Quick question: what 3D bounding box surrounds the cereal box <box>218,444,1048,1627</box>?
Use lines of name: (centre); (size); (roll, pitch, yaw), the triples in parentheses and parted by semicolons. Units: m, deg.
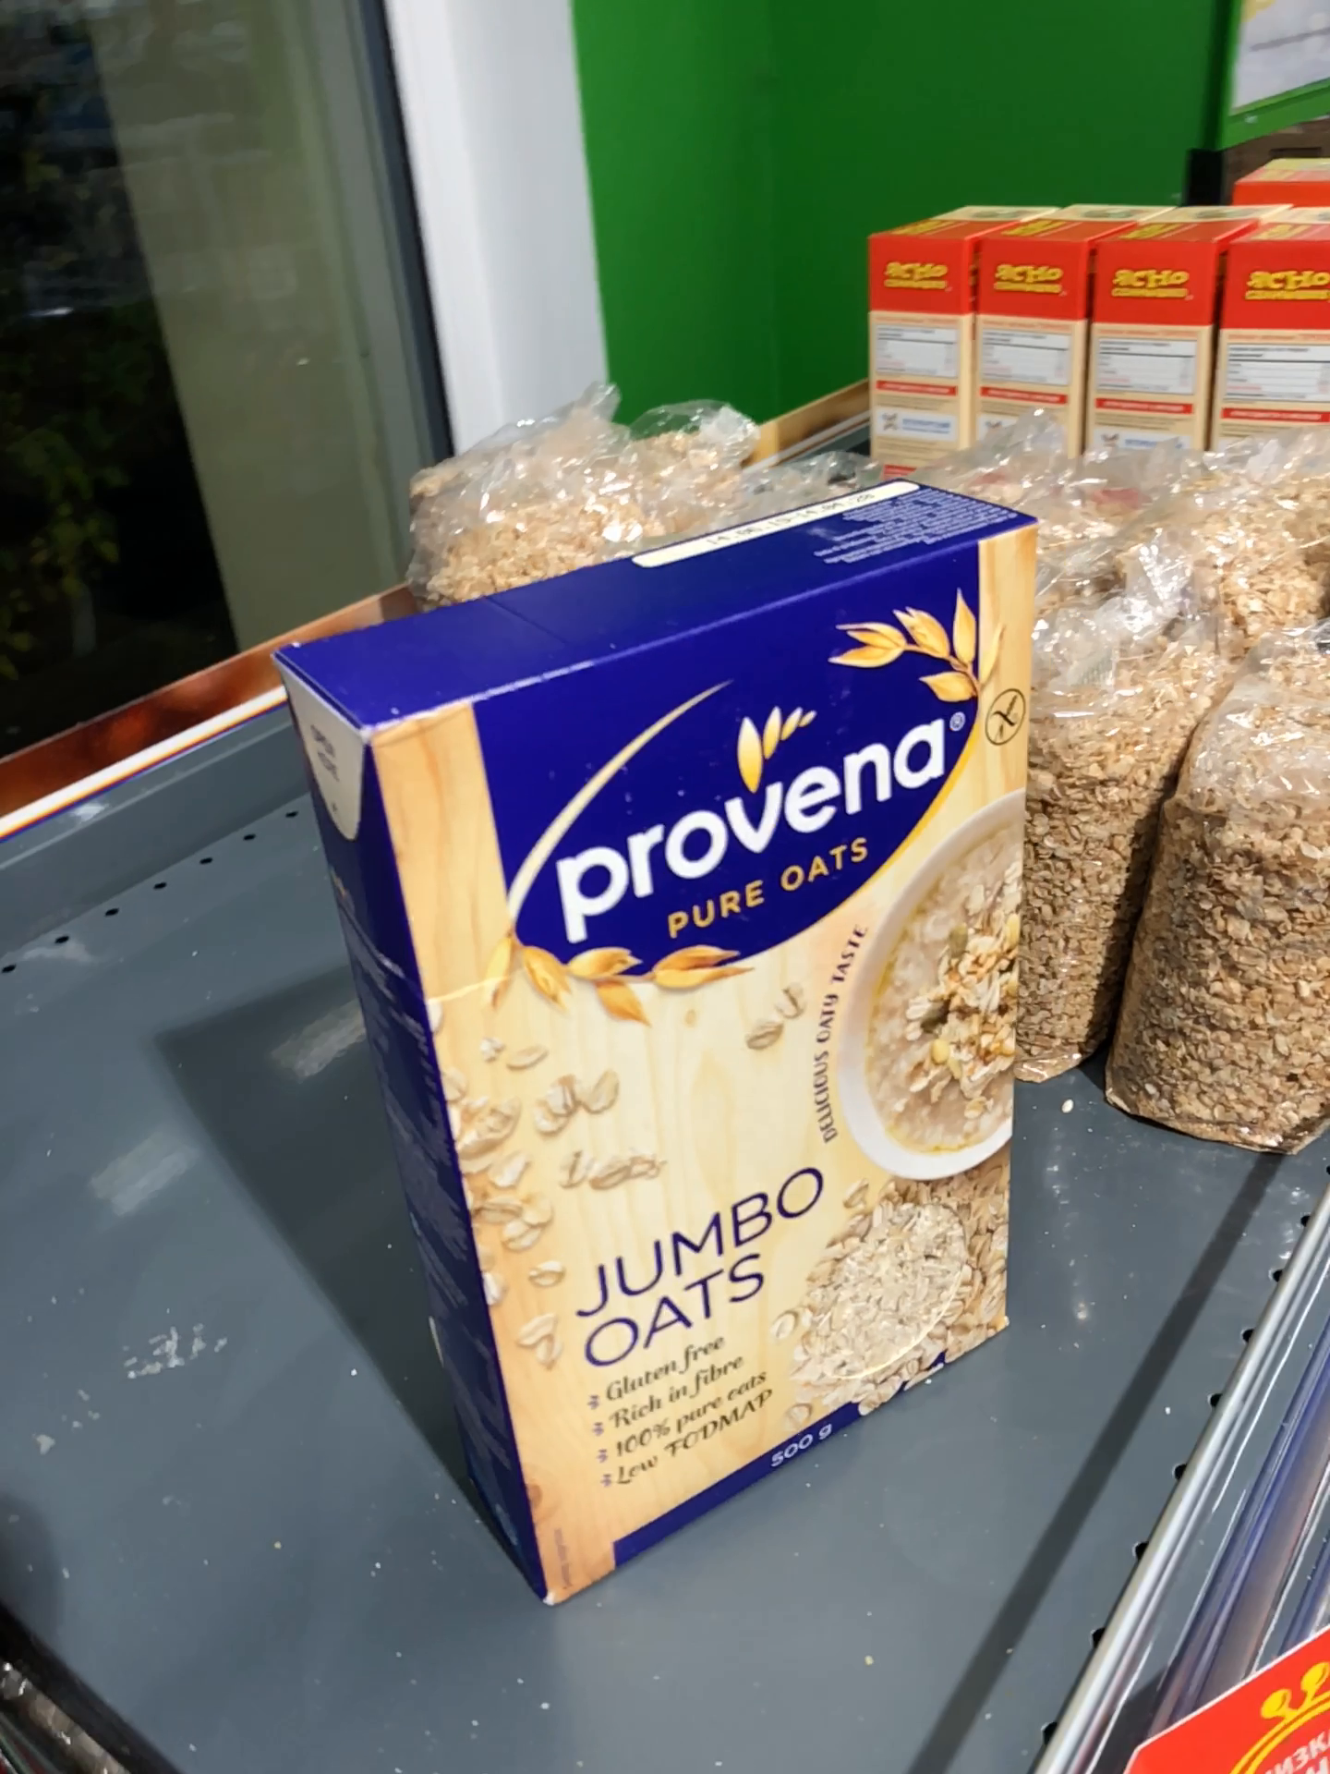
cereal box: (0.007, 0.036, 0.329); (0.150, 0.229, 0.050); (-21, 33, -25)
